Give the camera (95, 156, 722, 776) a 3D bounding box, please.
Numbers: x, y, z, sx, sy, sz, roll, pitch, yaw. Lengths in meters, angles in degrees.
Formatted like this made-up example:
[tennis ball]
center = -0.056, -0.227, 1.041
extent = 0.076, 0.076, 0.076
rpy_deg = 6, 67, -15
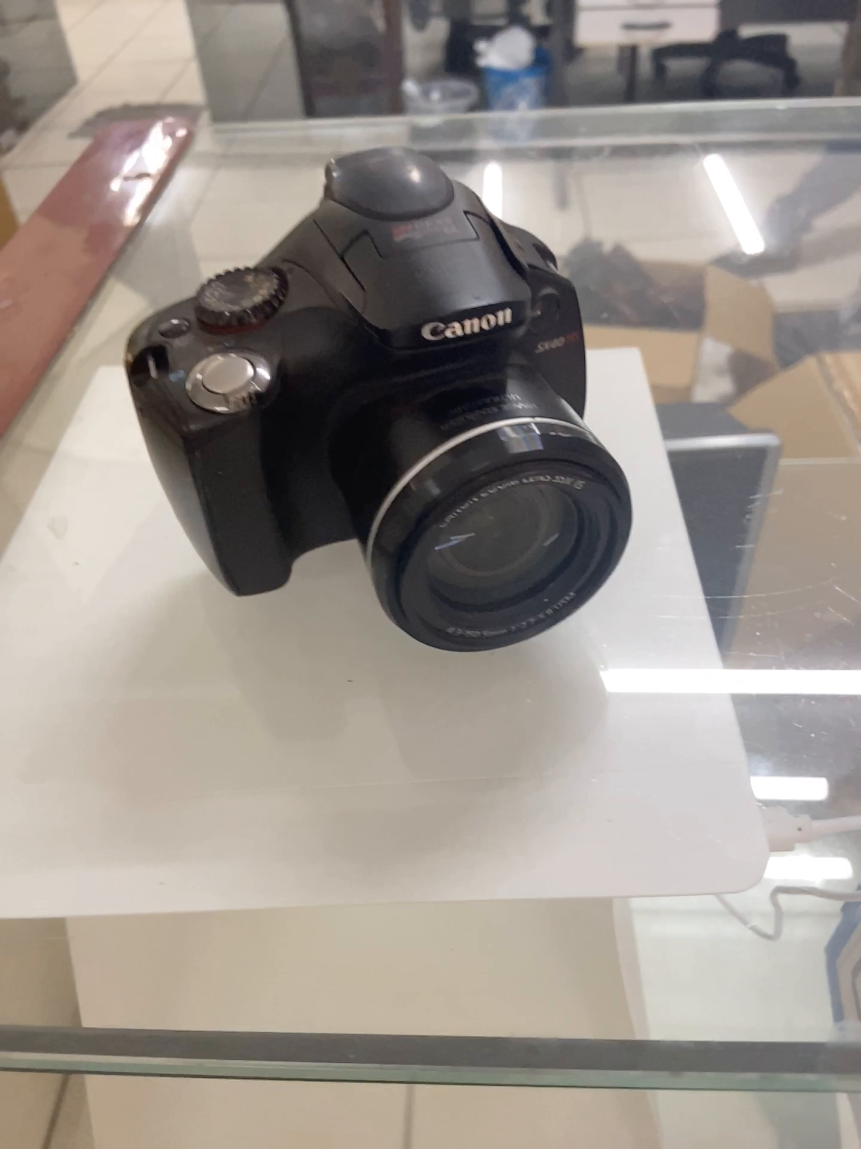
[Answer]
[camera]
center = -0.015, -0.043, 0.263
extent = 0.120, 0.089, 0.141
rpy_deg = -18, 46, -13
